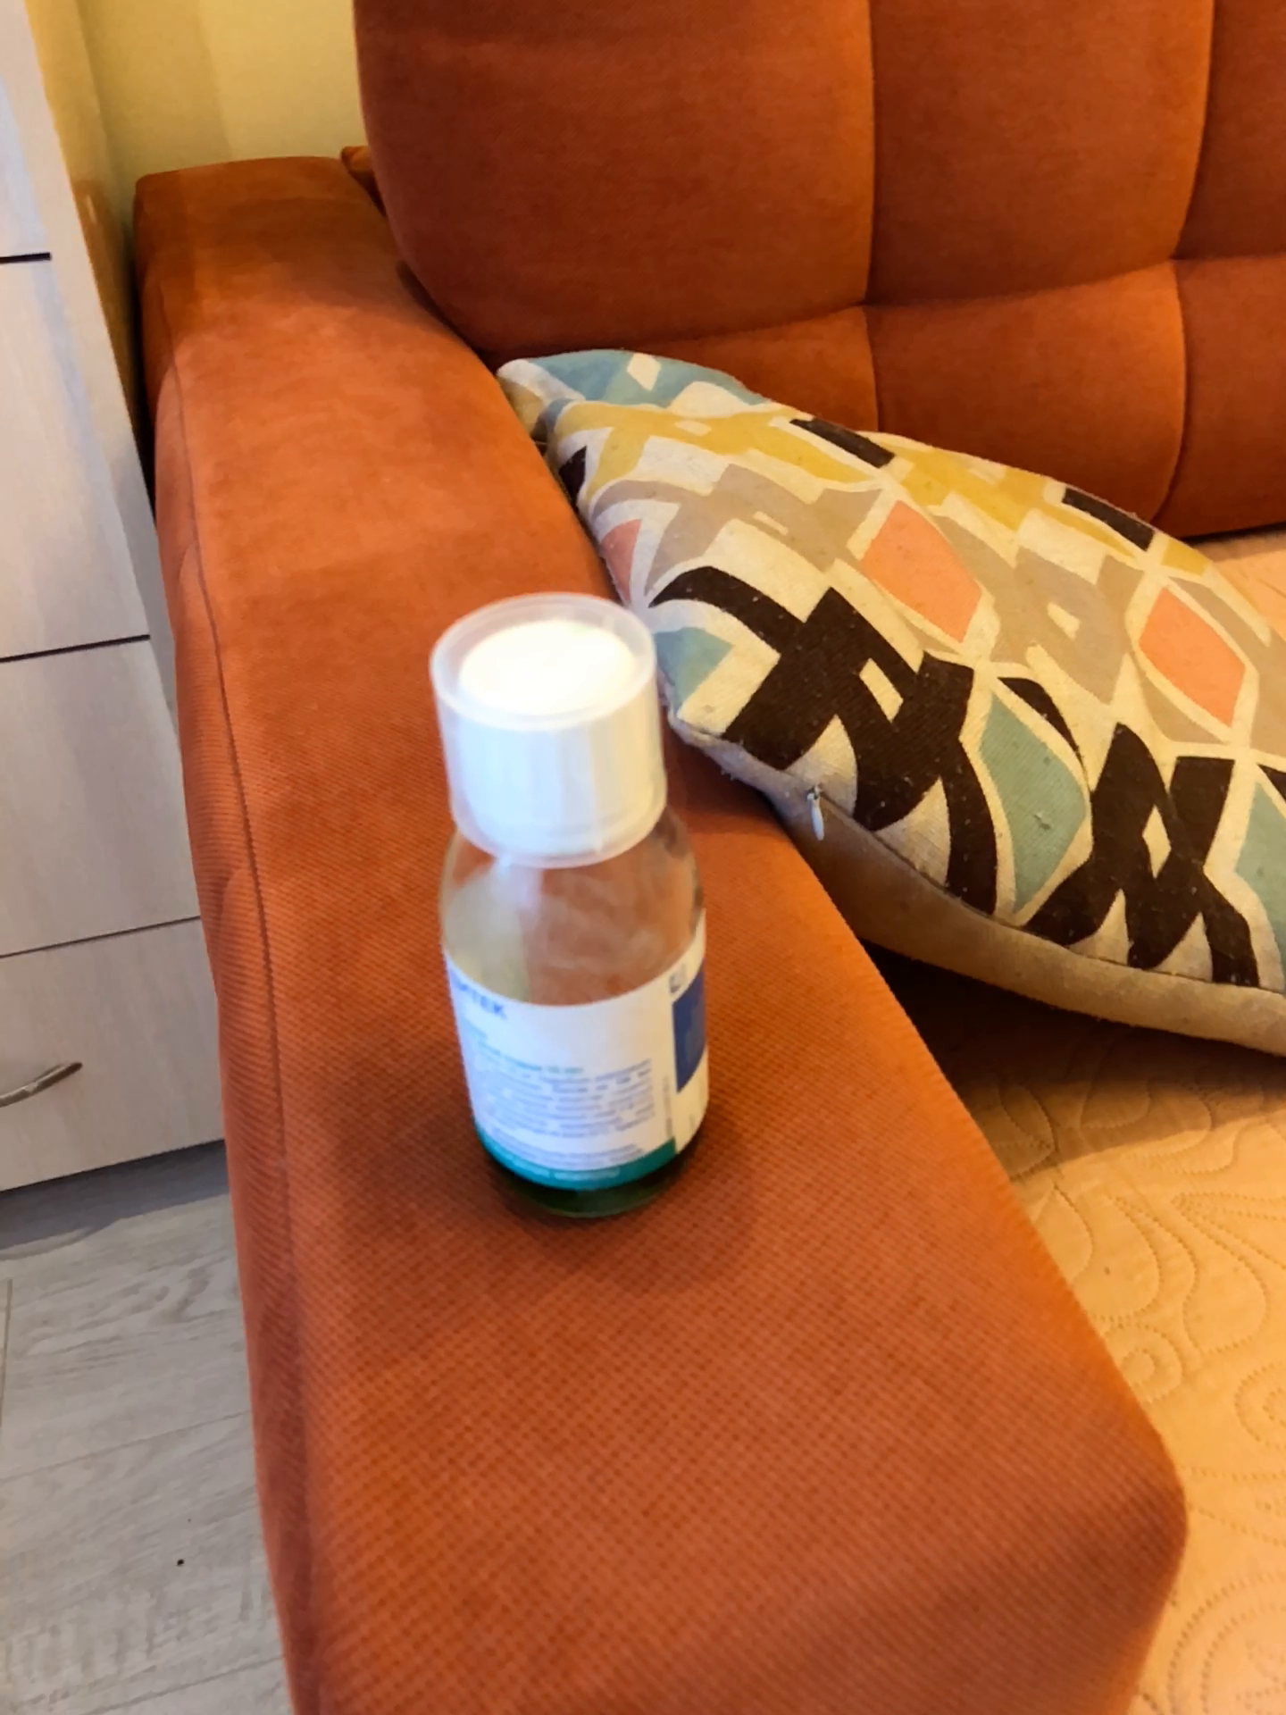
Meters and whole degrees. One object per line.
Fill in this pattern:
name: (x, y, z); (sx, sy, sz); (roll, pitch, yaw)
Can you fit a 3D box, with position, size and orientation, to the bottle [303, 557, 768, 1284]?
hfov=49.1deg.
bottle: (-0.018, 0.012, 0.256); (0.060, 0.106, 0.060); (-2, 37, 1)
